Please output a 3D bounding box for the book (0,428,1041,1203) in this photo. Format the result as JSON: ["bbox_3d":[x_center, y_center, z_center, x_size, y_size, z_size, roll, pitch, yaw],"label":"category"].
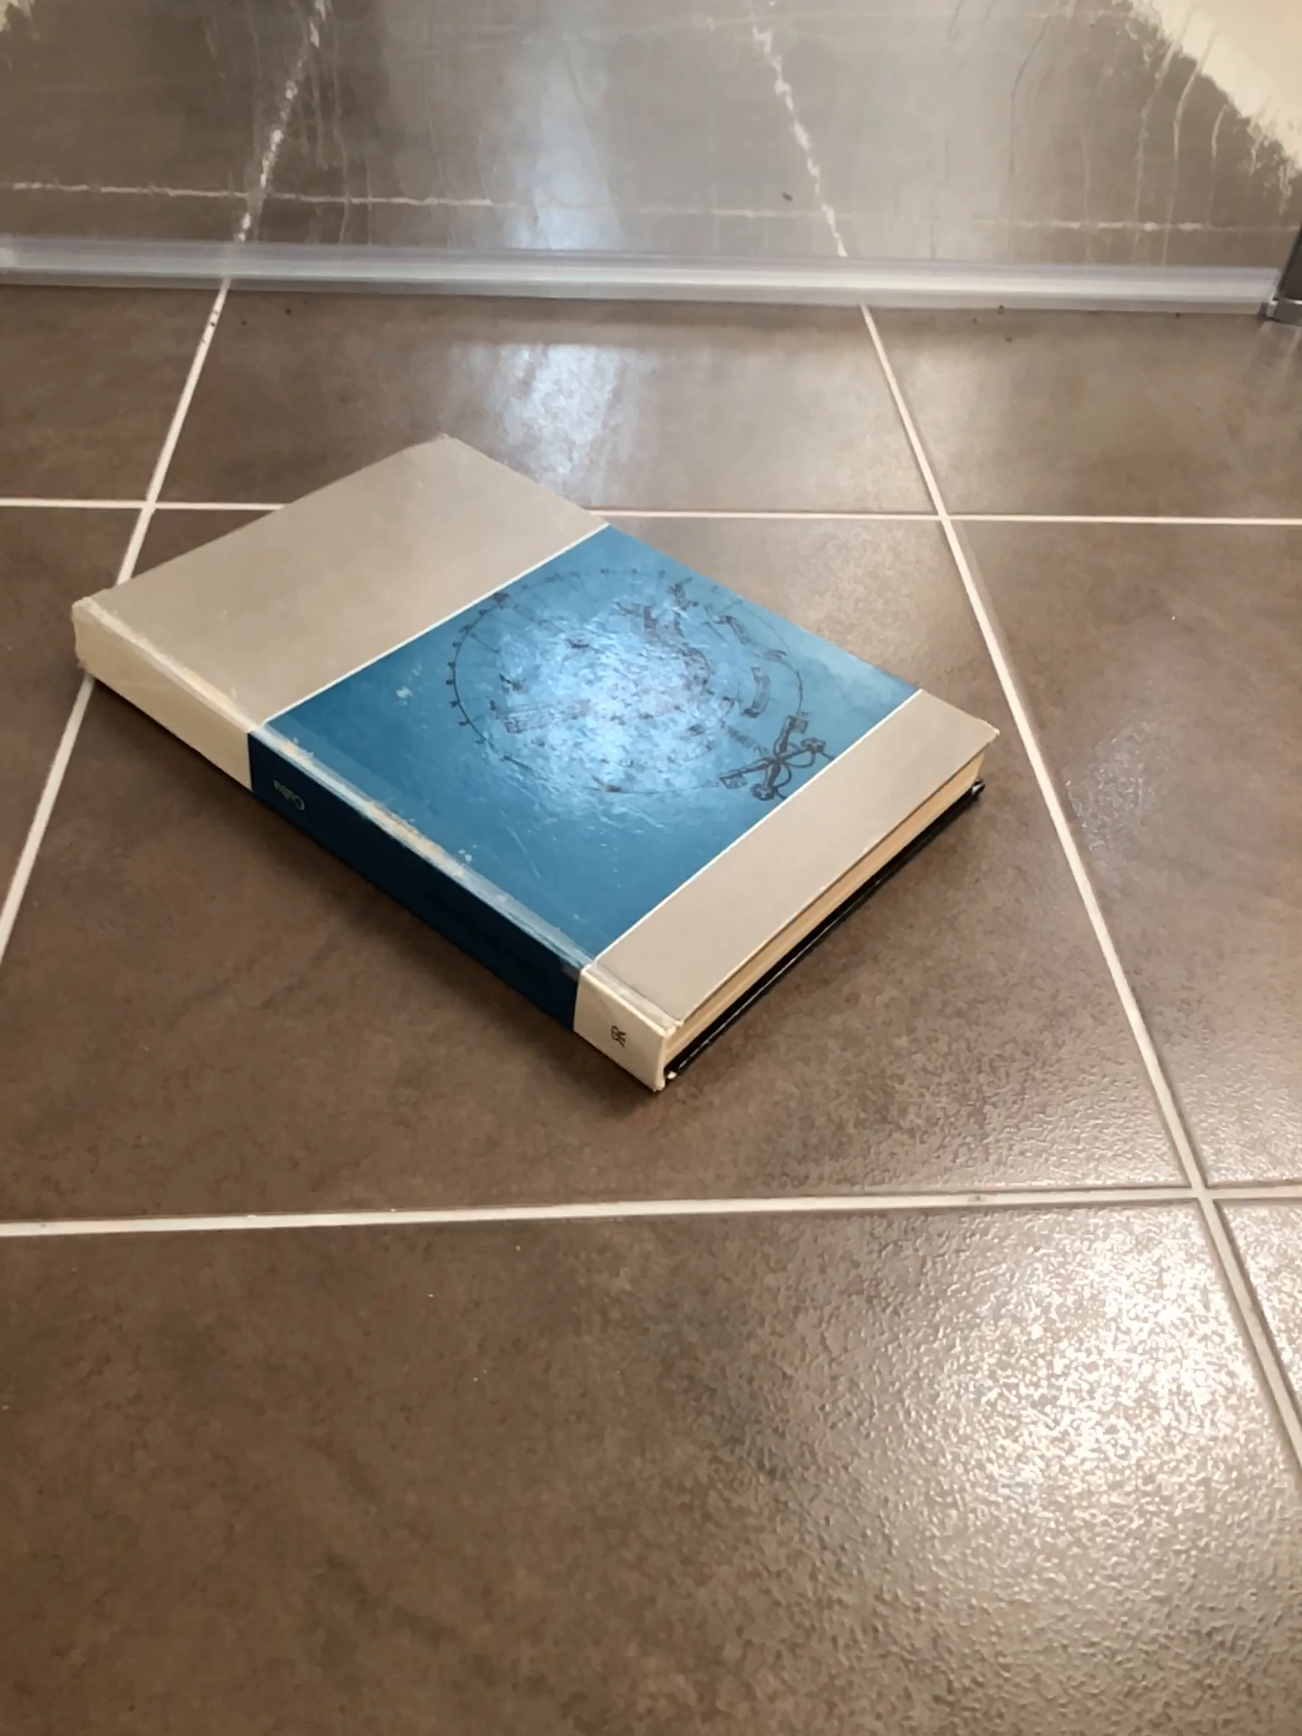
[{"bbox_3d":[-0.050,-0.049,0.508,0.300,0.040,0.211,33,52,26],"label":"book"}]
